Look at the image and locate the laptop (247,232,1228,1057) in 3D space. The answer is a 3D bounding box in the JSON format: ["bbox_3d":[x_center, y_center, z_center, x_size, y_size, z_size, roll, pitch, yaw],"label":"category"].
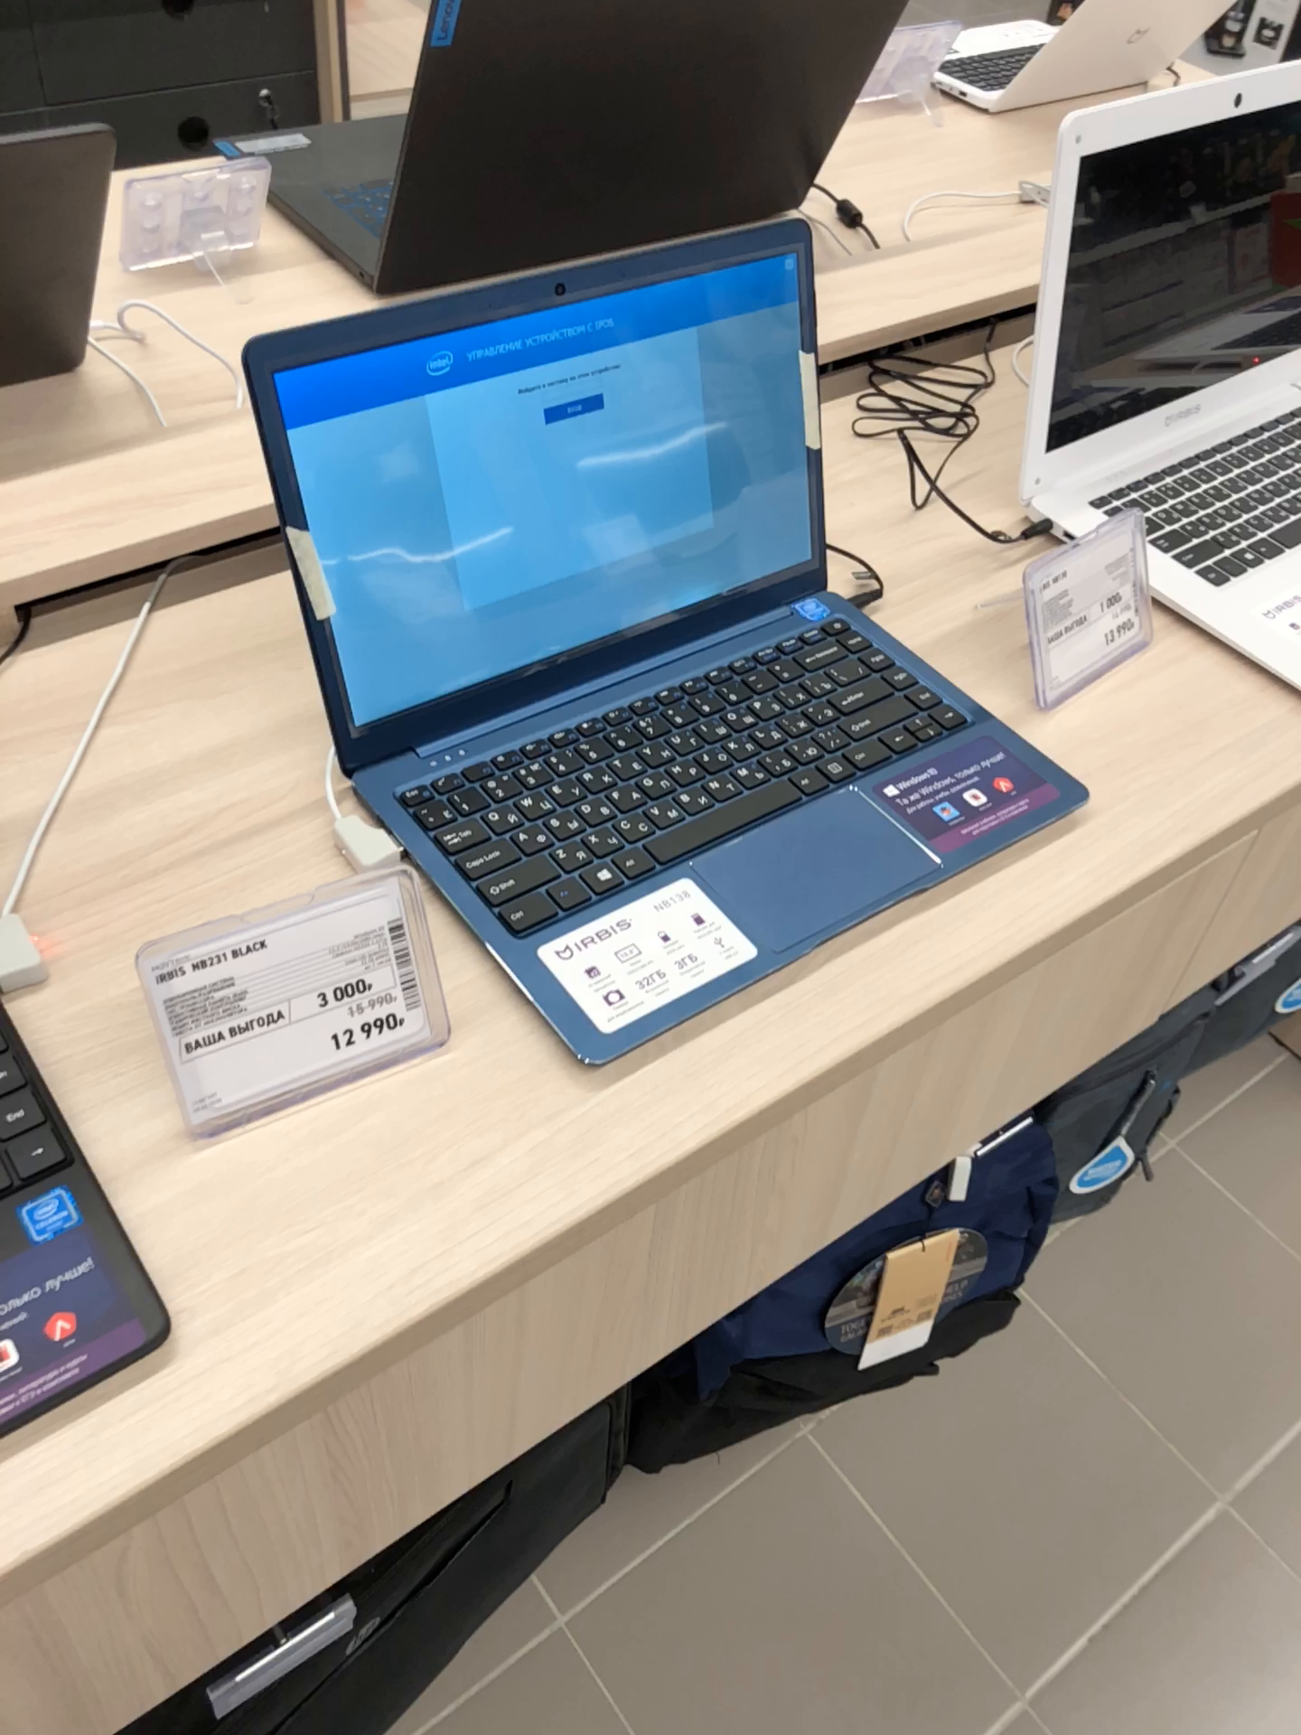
[{"bbox_3d":[0.029,-0.126,0.662,0.310,0.185,0.271,-25,54,-29],"label":"laptop"}]

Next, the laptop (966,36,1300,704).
[{"bbox_3d":[0.428,-0.321,0.874,0.311,0.217,0.289,-27,56,-29],"label":"laptop"}]

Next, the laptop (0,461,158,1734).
[{"bbox_3d":[-0.379,0.055,0.432,0.301,0.155,0.328,-25,54,-31],"label":"laptop"}]
